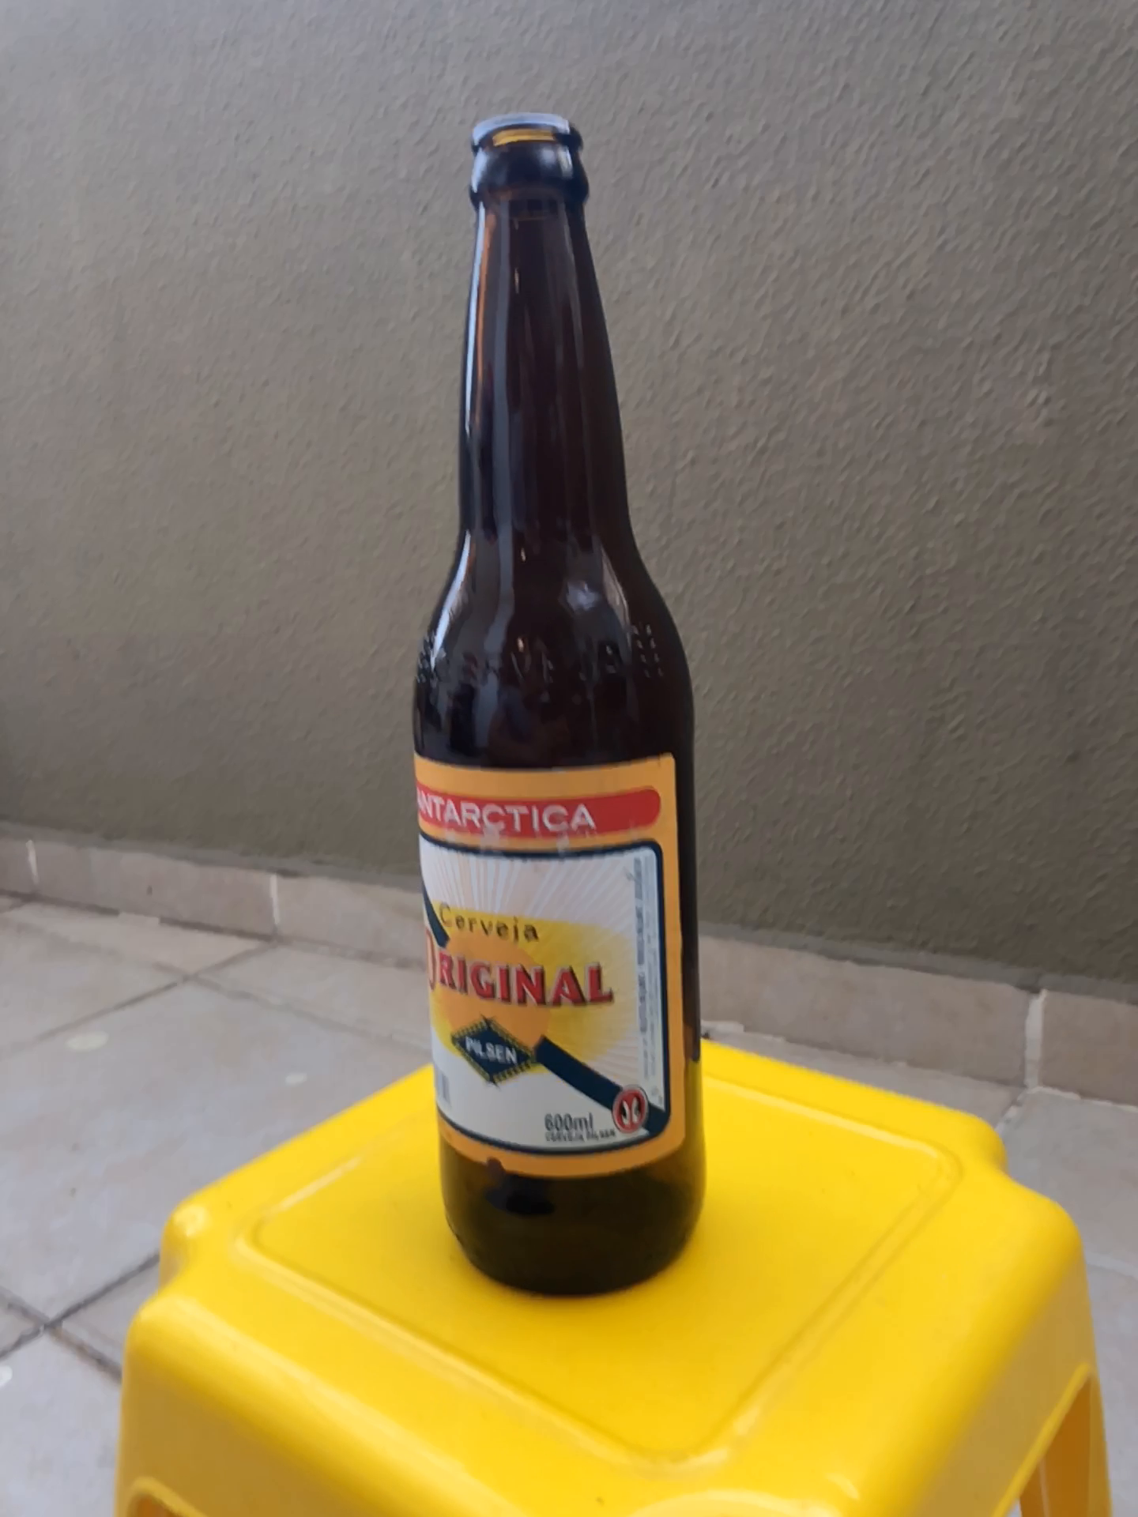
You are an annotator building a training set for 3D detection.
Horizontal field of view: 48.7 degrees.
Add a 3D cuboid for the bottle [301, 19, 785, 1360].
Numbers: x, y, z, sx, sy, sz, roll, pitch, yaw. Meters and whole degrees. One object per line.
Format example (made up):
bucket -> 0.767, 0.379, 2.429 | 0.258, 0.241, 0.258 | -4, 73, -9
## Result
bottle -> -0.001, -0.012, 0.325 | 0.080, 0.289, 0.080 | -2, 10, 0
